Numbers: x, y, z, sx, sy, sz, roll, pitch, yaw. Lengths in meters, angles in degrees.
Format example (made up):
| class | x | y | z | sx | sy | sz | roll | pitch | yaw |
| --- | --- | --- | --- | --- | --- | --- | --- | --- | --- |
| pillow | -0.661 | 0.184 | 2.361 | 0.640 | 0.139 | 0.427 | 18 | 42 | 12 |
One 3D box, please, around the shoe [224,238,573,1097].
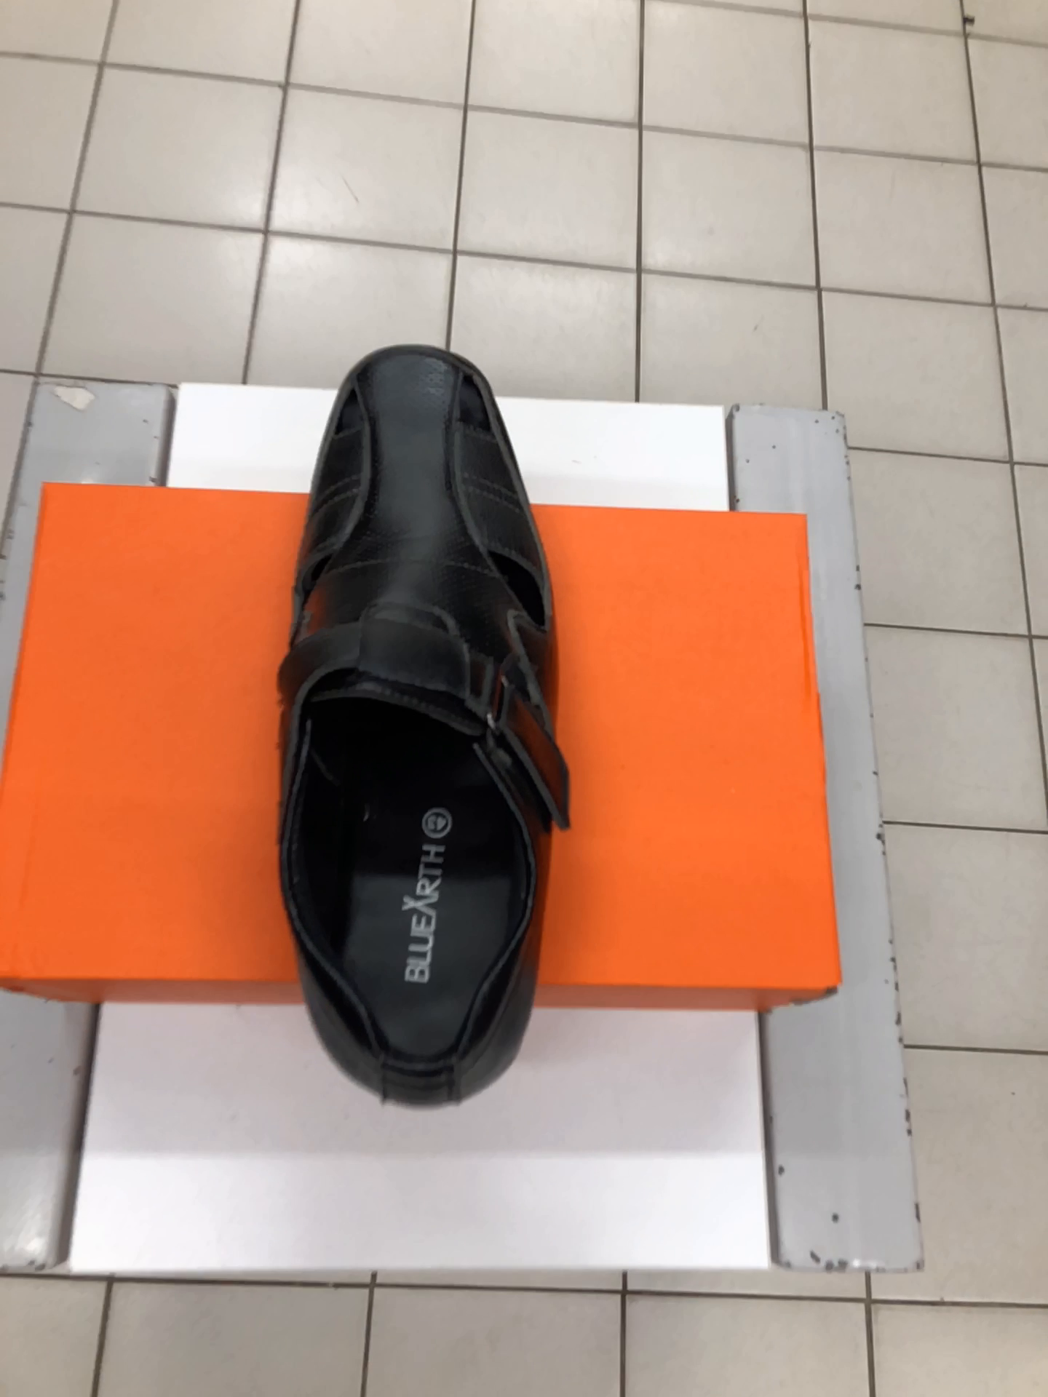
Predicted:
| class | x | y | z | sx | sy | sz | roll | pitch | yaw |
| --- | --- | --- | --- | --- | --- | --- | --- | --- | --- |
| shoe | -0.040 | -0.011 | 0.430 | 0.100 | 0.100 | 0.301 | 2 | 71 | -5 |
